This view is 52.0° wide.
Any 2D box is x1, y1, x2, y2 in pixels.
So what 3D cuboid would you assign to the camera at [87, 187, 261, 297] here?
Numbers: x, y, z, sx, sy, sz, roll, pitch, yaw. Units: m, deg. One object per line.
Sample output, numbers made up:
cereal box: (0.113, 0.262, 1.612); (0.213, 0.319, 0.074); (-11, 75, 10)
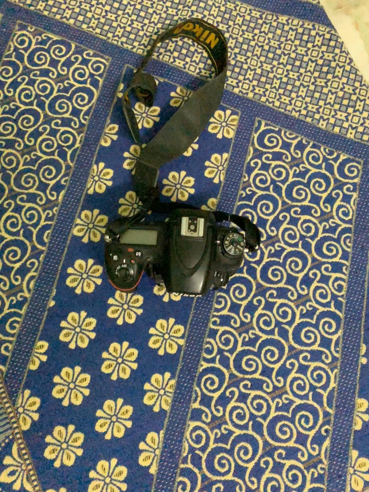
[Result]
camera: (-0.009, 0.001, 0.379); (0.150, 0.090, 0.088); (2, 78, -1)
